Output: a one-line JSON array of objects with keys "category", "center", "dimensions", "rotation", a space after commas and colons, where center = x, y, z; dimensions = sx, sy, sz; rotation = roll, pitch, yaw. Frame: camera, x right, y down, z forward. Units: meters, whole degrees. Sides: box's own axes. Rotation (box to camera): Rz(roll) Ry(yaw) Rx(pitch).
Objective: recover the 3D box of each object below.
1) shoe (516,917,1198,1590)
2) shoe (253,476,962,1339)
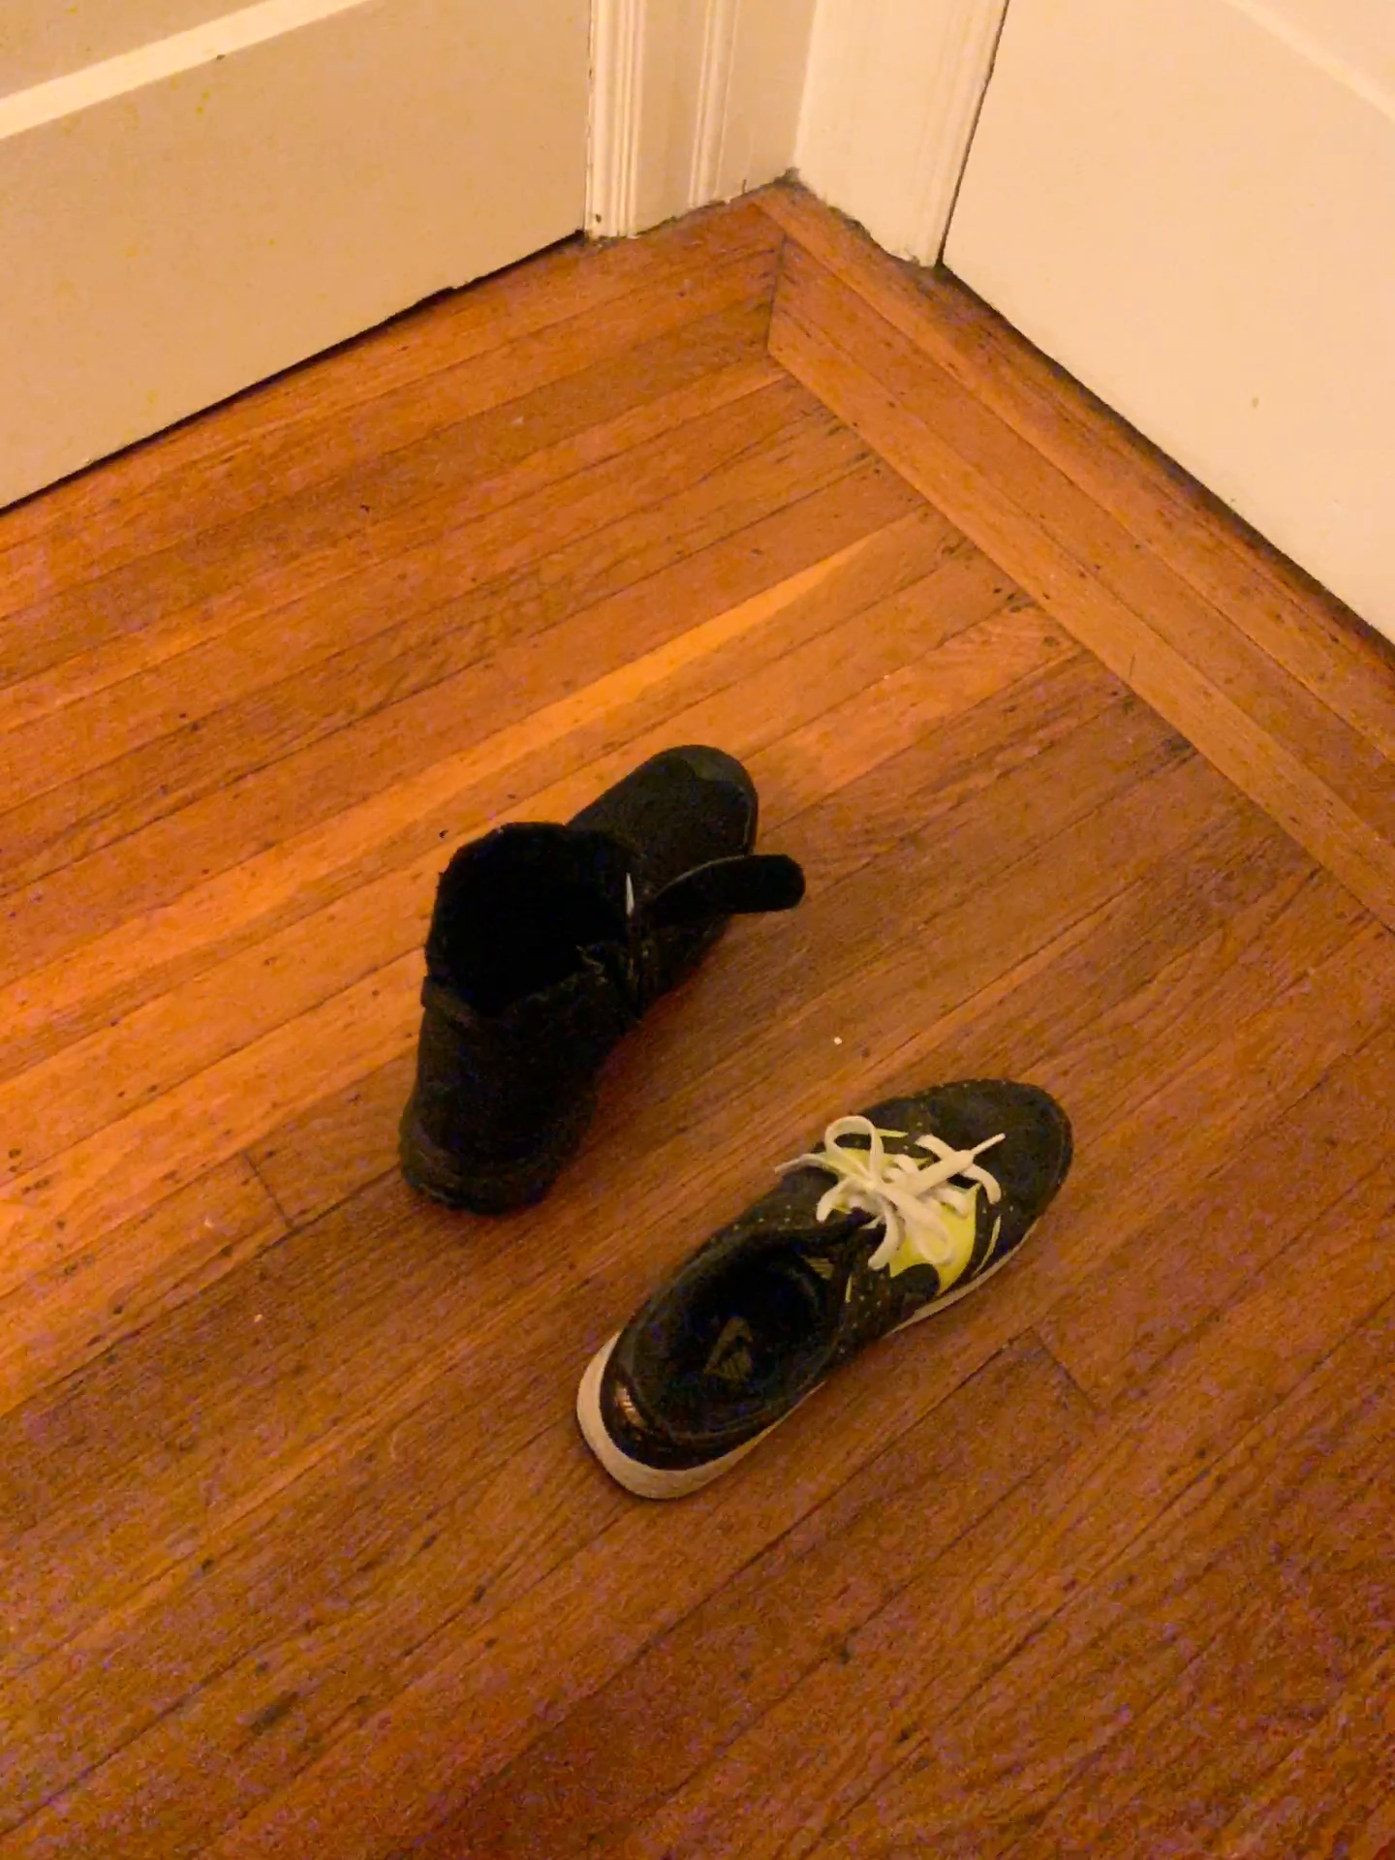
[{"category": "shoe", "center": [0.071, 0.139, 0.643], "dimensions": [0.290, 0.100, 0.120], "rotation": [-37, 70, -22]}, {"category": "shoe", "center": [-0.033, -0.005, 0.695], "dimensions": [0.160, 0.239, 0.311], "rotation": [27, 62, 9]}]
